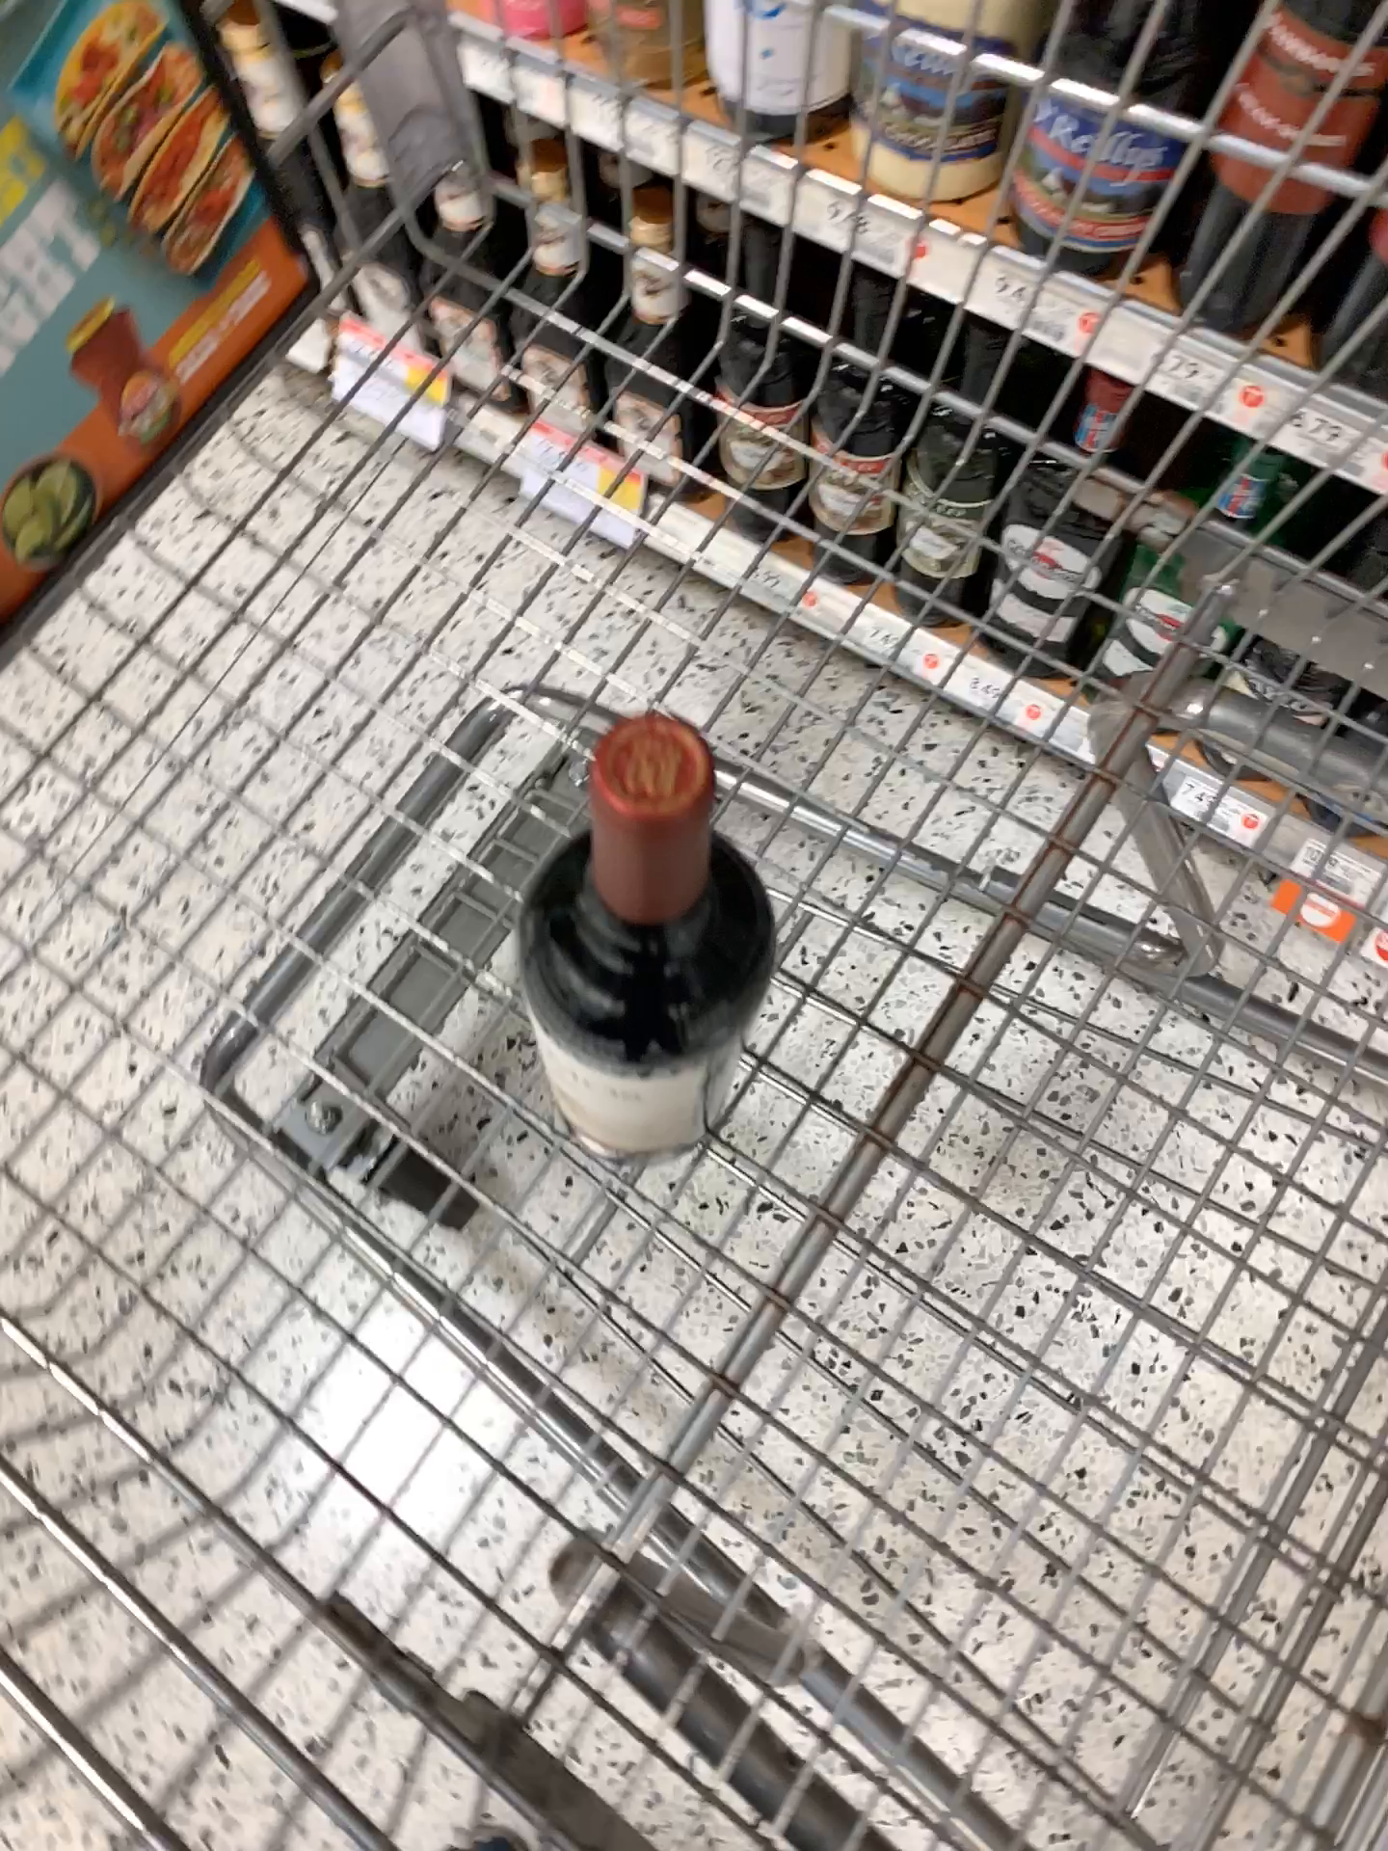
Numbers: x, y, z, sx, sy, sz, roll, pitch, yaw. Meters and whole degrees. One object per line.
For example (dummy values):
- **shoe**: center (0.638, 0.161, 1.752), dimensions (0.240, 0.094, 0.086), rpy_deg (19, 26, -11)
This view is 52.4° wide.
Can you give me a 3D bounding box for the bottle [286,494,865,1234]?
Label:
- **bottle**: center (-0.025, 0.013, 0.424), dimensions (0.080, 0.299, 0.090), rpy_deg (-33, 74, -11)
